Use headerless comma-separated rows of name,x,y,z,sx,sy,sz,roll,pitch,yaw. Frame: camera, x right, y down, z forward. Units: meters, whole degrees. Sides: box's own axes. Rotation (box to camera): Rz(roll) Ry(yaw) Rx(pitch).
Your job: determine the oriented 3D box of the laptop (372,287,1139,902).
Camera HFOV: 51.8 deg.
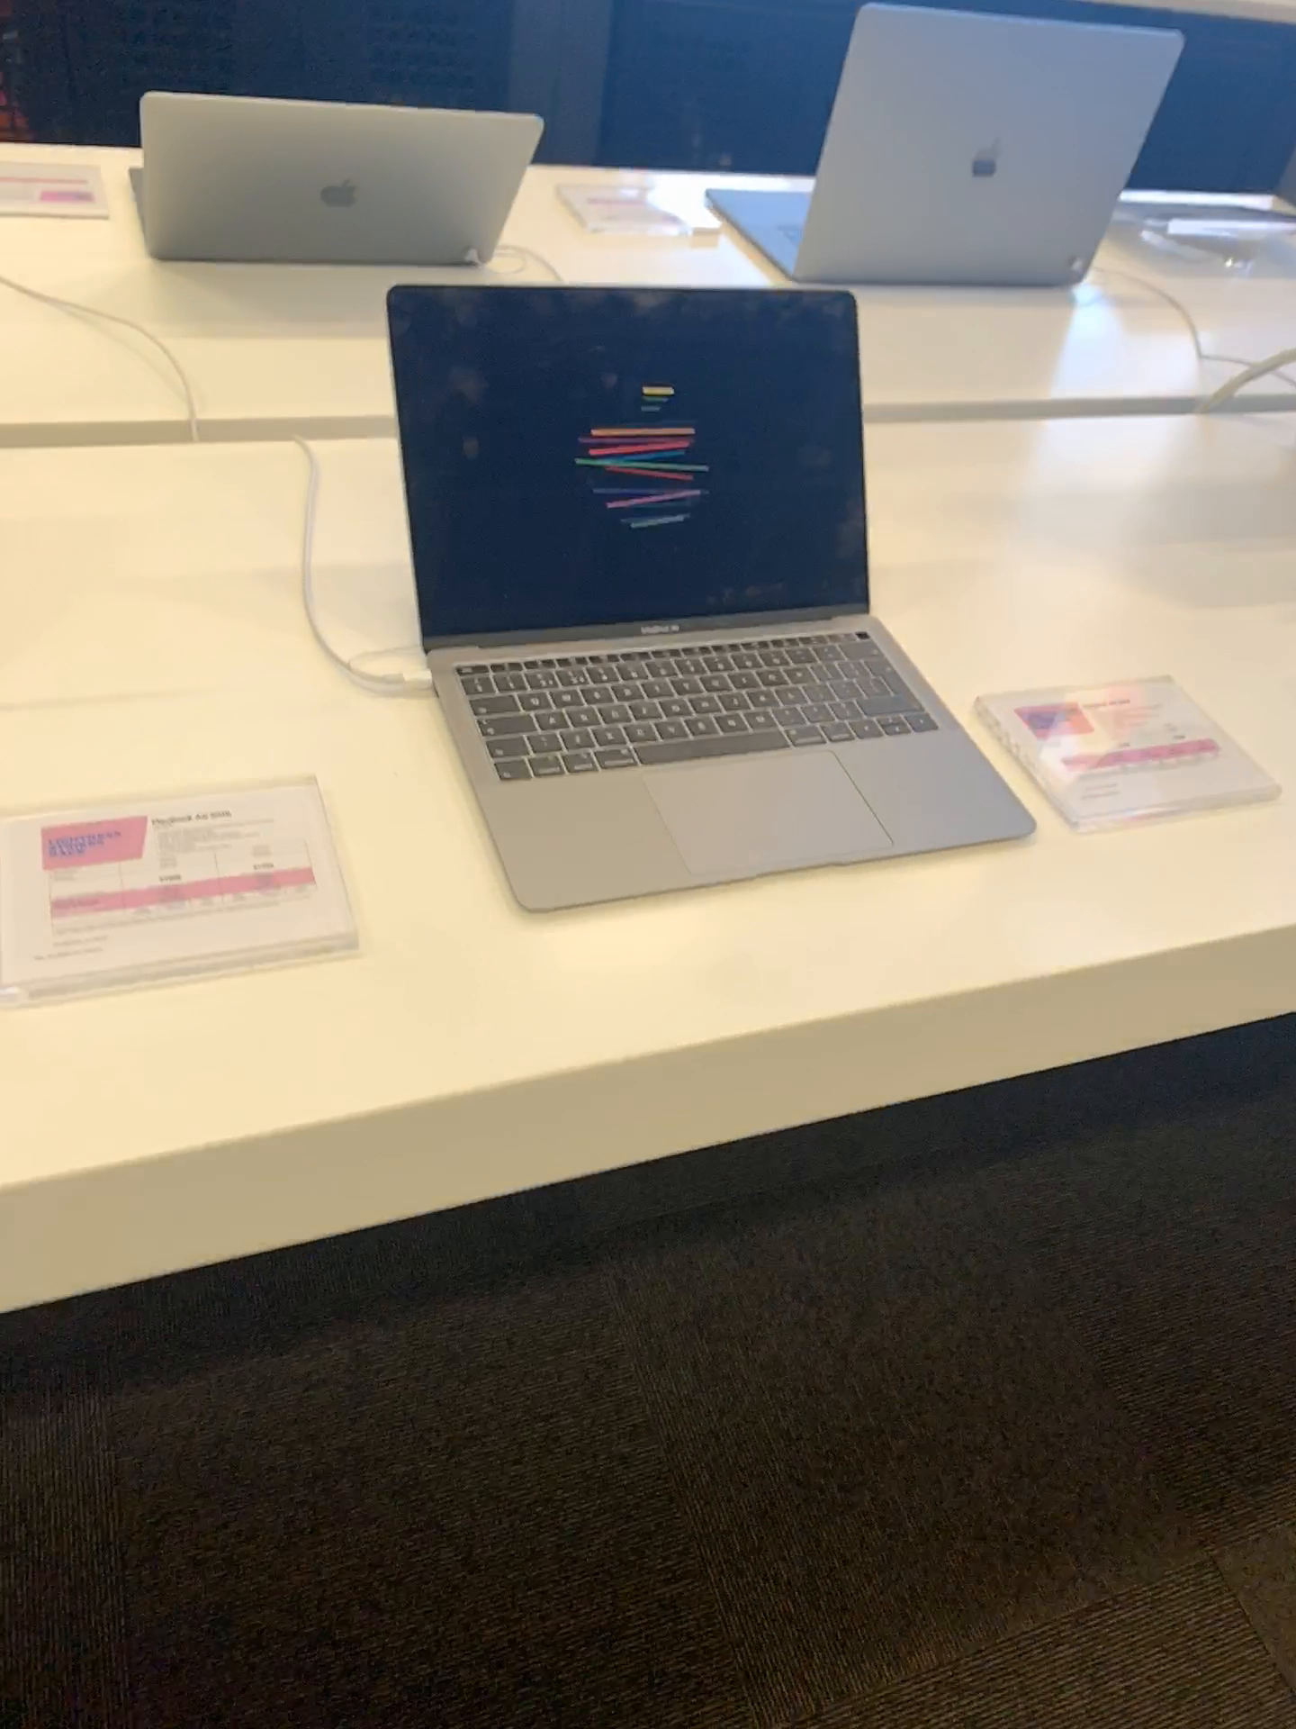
laptop,0.028,-0.171,0.741,0.290,0.160,0.330,-8,46,-20
